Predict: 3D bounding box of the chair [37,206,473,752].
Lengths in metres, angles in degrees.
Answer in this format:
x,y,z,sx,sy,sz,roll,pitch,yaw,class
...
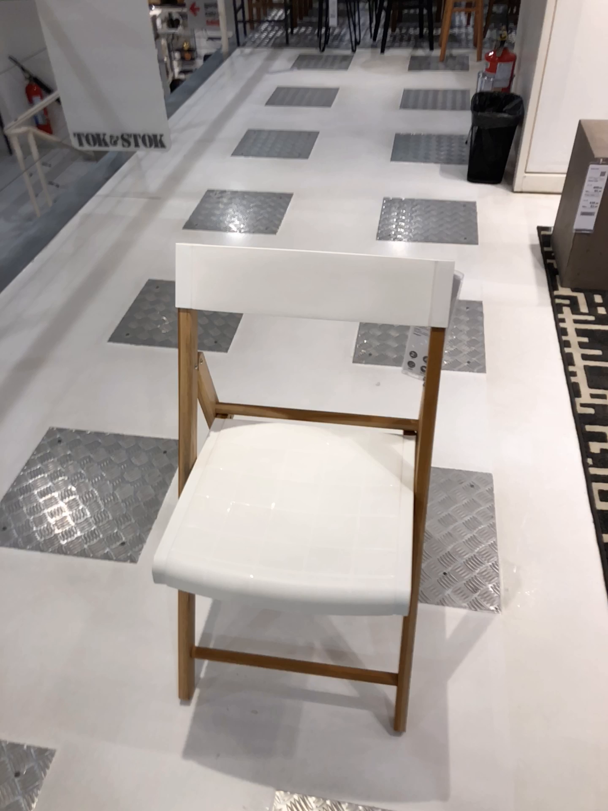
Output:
x,y,z,sx,sy,sz,roll,pitch,yaw,class
-0.009,0.121,1.136,0.470,0.705,0.554,4,41,8,chair
